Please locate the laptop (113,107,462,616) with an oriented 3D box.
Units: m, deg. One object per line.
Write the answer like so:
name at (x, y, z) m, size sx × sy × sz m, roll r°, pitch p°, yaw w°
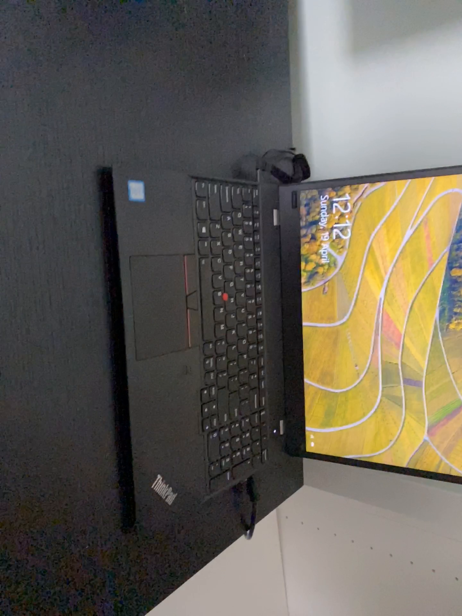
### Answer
laptop at (0.092, 0.038, 0.474) m, size 0.295 × 0.231 × 0.351 m, roll -9°, pitch 99°, yaw -49°
